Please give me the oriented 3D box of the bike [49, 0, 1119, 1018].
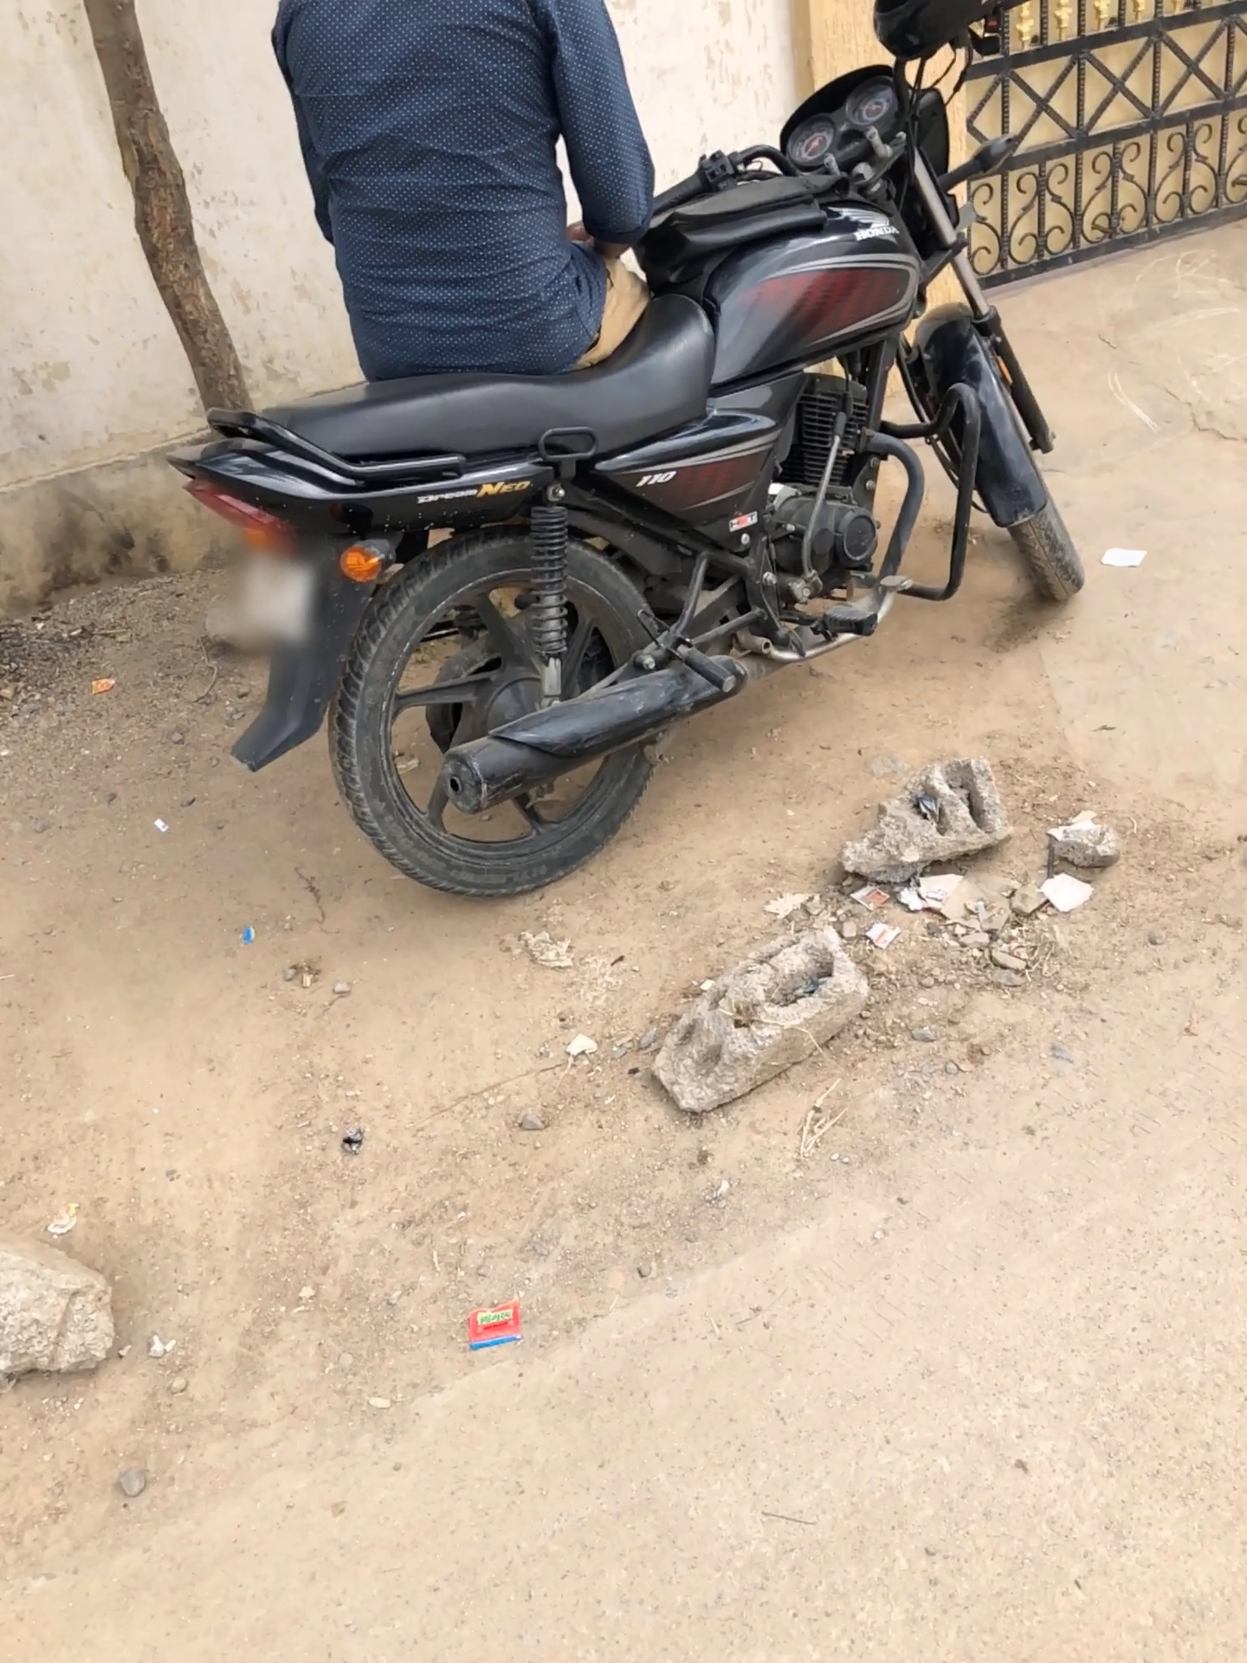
[{"bbox_3d":[0.113,-0.724,2.338,0.722,1.070,1.672,23,48,39],"label":"bike"}]
